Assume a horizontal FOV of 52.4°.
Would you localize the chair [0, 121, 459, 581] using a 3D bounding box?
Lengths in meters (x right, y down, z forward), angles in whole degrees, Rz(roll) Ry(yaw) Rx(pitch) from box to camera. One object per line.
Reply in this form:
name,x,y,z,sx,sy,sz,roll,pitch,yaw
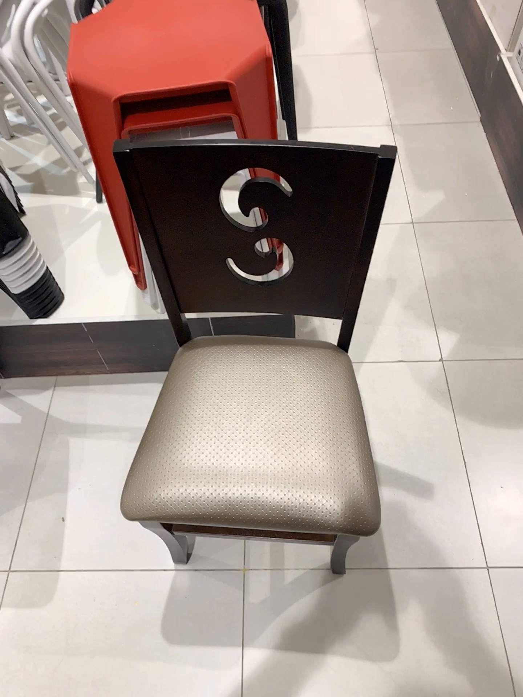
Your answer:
chair,-0.028,0.092,1.055,0.500,0.848,0.521,0,56,2
